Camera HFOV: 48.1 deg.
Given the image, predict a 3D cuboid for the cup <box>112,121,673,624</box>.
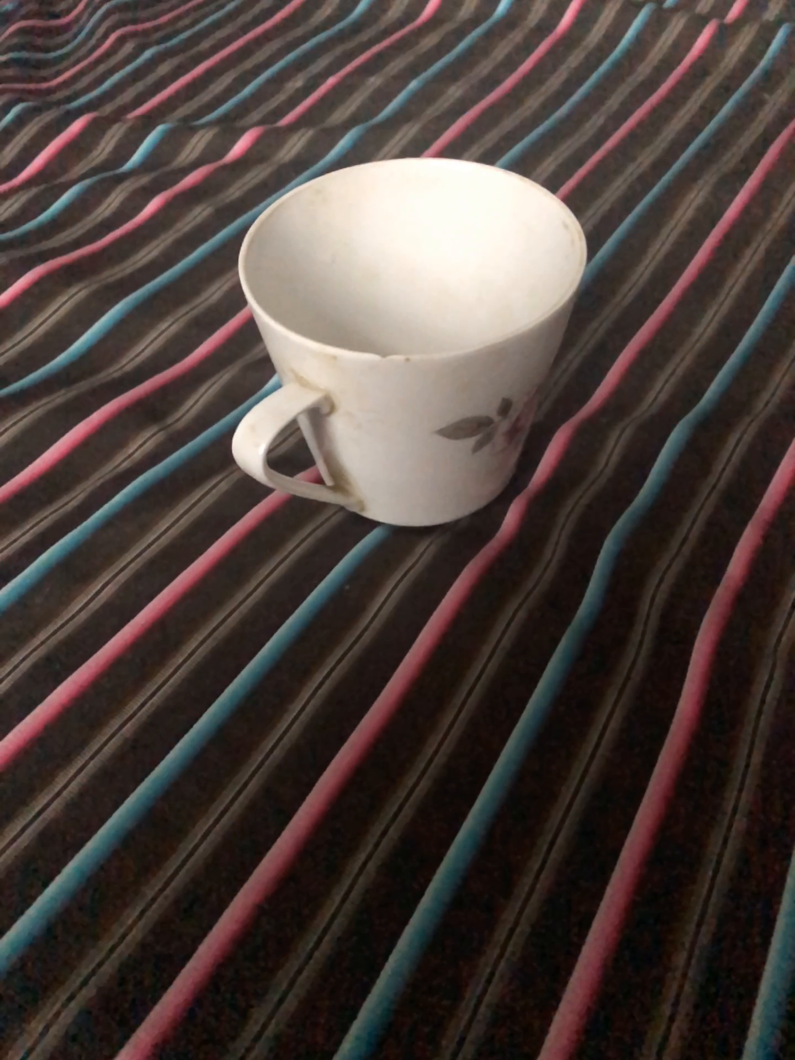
[{"bbox_3d":[0.000,-0.042,0.207,0.094,0.049,0.073,-38,61,-26],"label":"cup"}]
